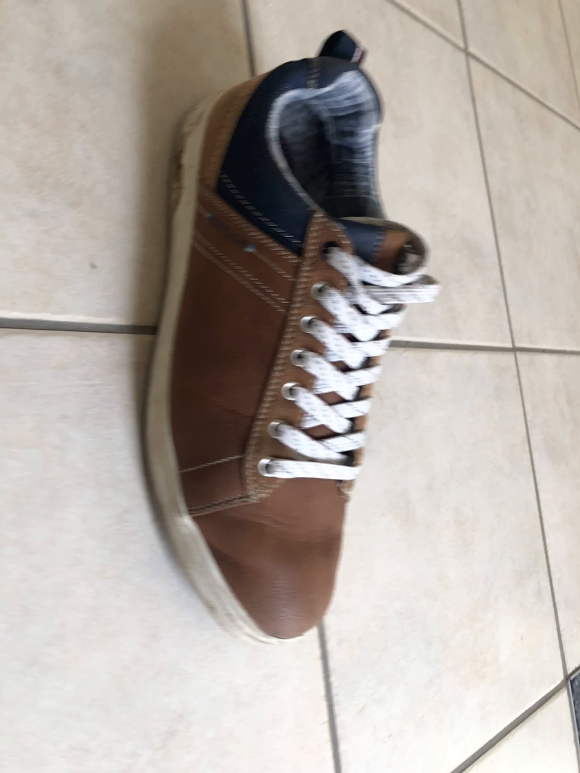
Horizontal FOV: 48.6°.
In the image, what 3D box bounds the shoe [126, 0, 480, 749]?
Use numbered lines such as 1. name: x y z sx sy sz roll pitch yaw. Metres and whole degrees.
1. shoe: 0.002 -0.024 0.316 0.101 0.119 0.320 11 73 -44
